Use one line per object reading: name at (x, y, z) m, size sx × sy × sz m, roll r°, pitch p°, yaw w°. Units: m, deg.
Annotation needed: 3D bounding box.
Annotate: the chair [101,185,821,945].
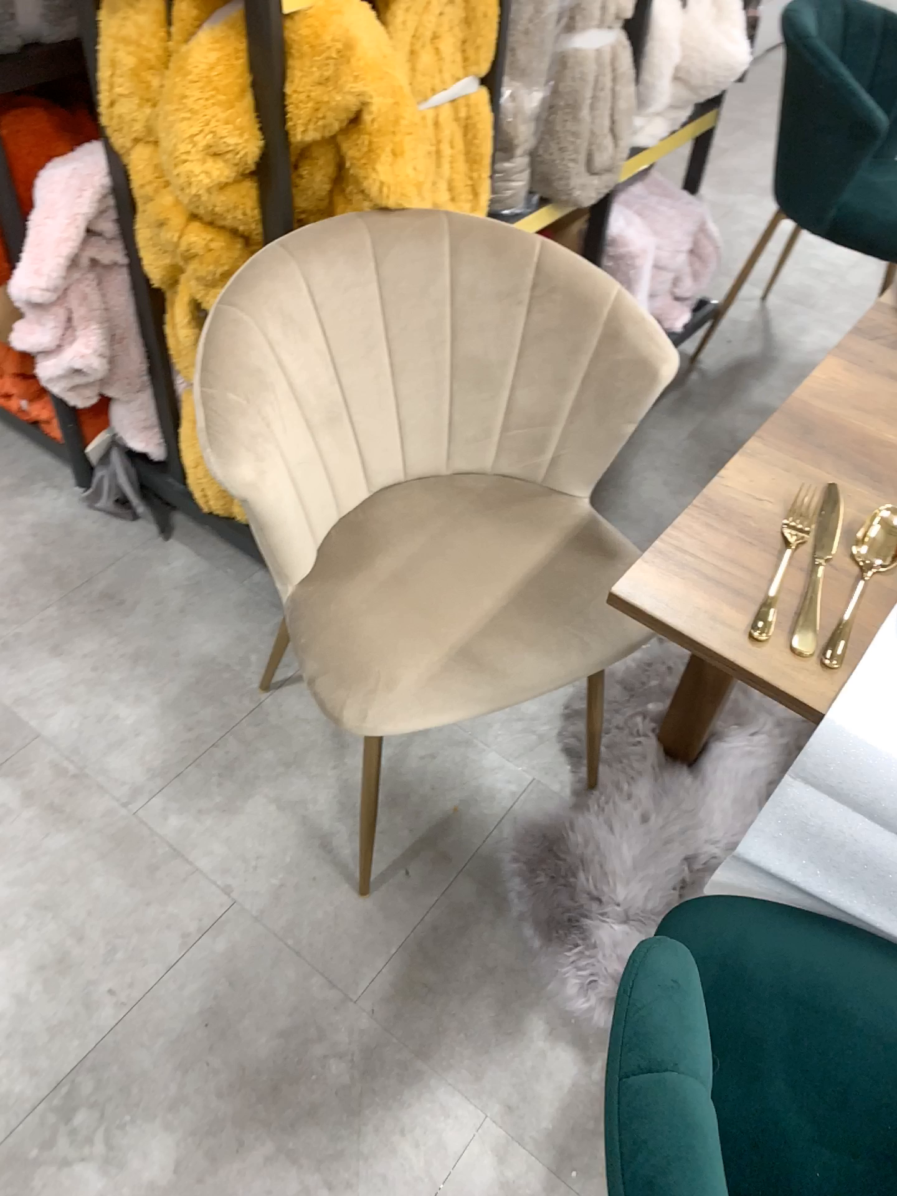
chair at (-0.037, -0.054, 1.209) m, size 0.562 × 0.666 × 0.576 m, roll -18°, pitch 51°, yaw -21°
